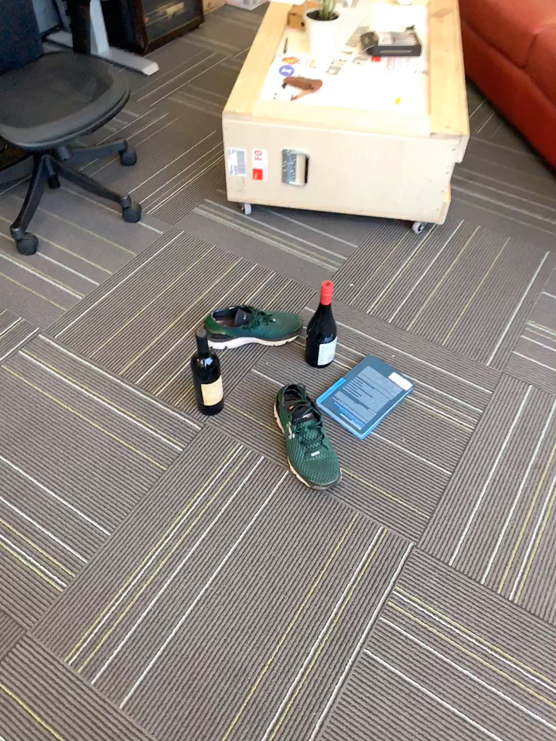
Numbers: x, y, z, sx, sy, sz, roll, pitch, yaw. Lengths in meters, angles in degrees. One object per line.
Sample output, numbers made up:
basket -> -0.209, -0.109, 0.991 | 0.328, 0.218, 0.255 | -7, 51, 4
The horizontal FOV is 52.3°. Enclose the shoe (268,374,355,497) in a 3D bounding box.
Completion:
shoe -> 0.075, 0.156, 1.398 | 0.130, 0.139, 0.241 | -14, 53, -12

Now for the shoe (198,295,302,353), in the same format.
shoe -> -0.083, -0.138, 1.667 | 0.290, 0.080, 0.121 | -6, 52, -5
